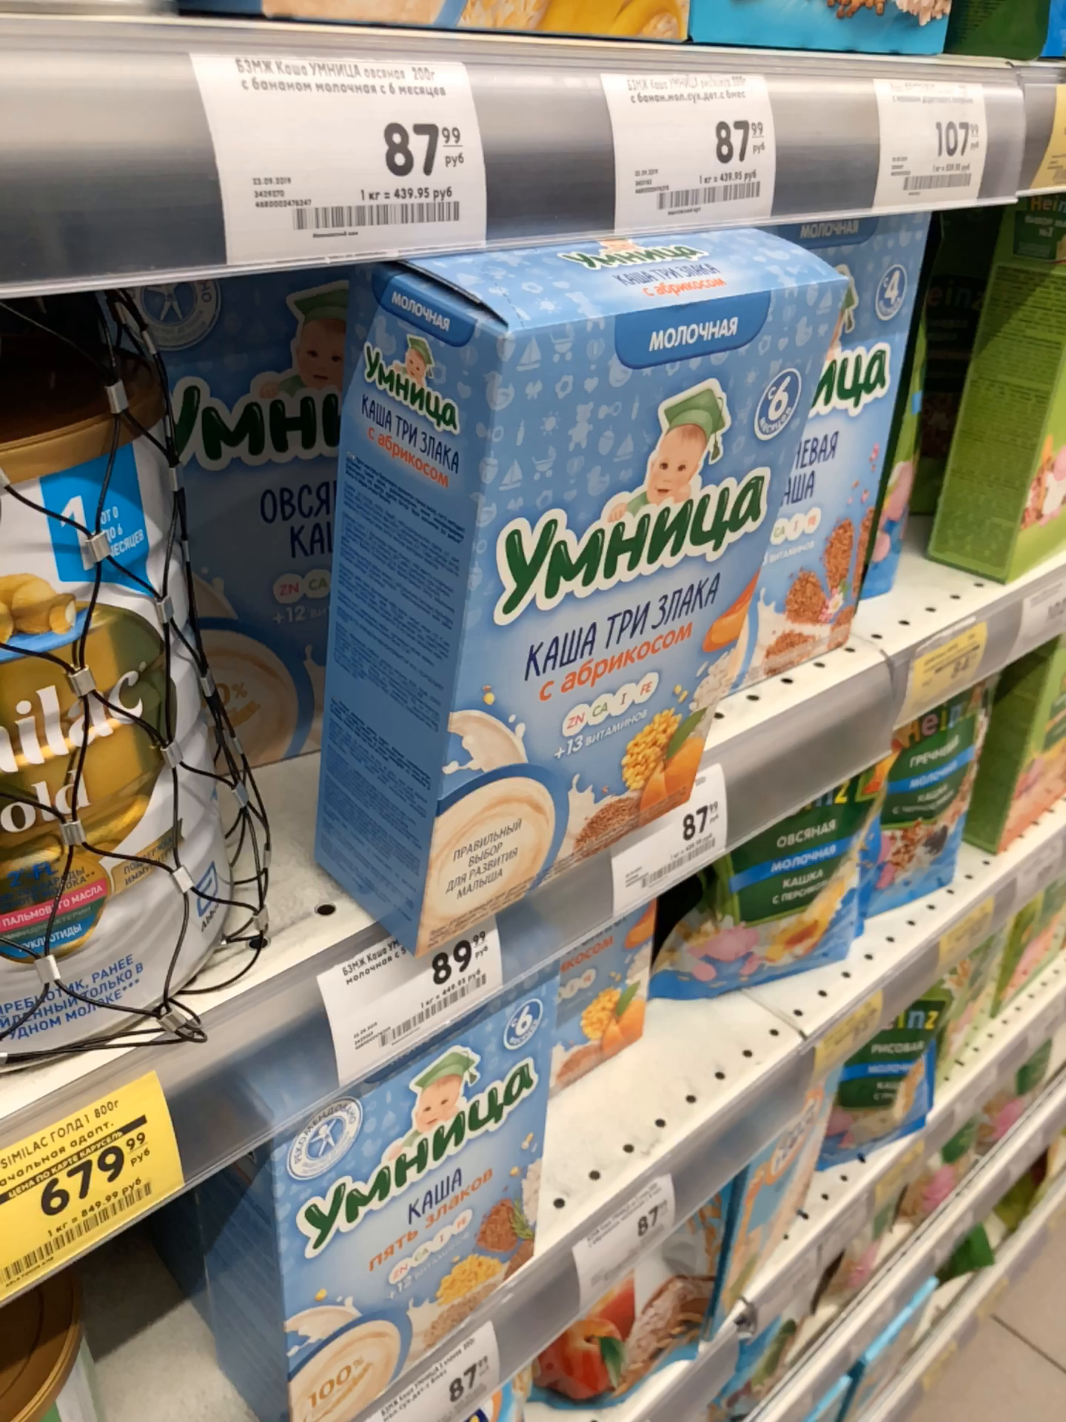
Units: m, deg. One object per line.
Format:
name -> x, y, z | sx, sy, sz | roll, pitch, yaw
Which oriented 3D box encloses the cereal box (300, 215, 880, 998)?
cereal box -> 0.010, -0.033, 0.365 | 0.140, 0.209, 0.060 | -23, 47, -39
